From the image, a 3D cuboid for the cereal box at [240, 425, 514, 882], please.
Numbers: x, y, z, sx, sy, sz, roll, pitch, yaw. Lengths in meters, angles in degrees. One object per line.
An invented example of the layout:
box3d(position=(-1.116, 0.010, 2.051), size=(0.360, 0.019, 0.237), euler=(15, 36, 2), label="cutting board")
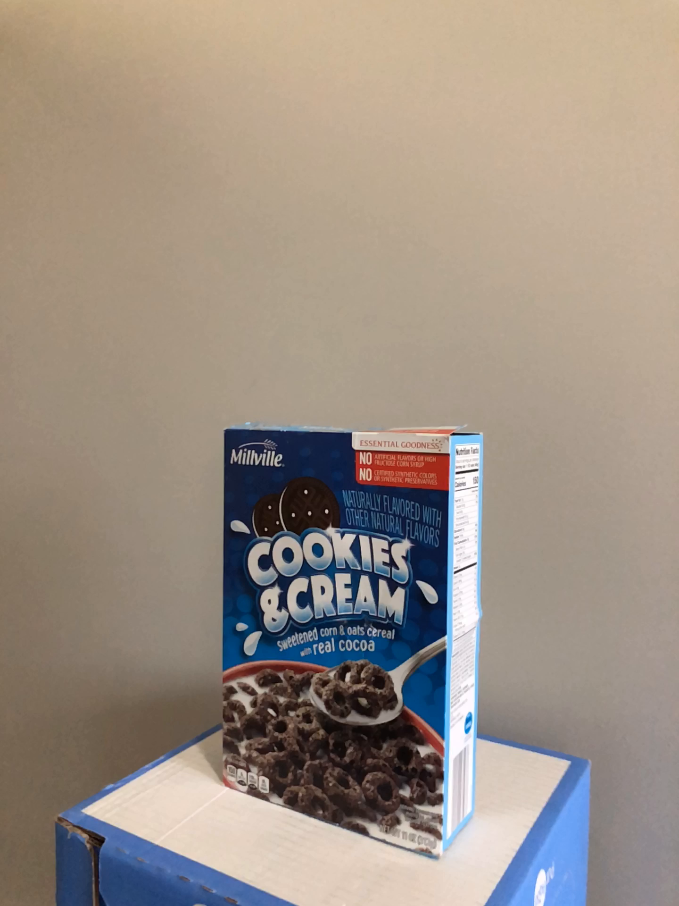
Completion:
box3d(position=(0.025, 0.135, 0.593), size=(0.200, 0.310, 0.070), euler=(2, 3, 30), label="cereal box")
